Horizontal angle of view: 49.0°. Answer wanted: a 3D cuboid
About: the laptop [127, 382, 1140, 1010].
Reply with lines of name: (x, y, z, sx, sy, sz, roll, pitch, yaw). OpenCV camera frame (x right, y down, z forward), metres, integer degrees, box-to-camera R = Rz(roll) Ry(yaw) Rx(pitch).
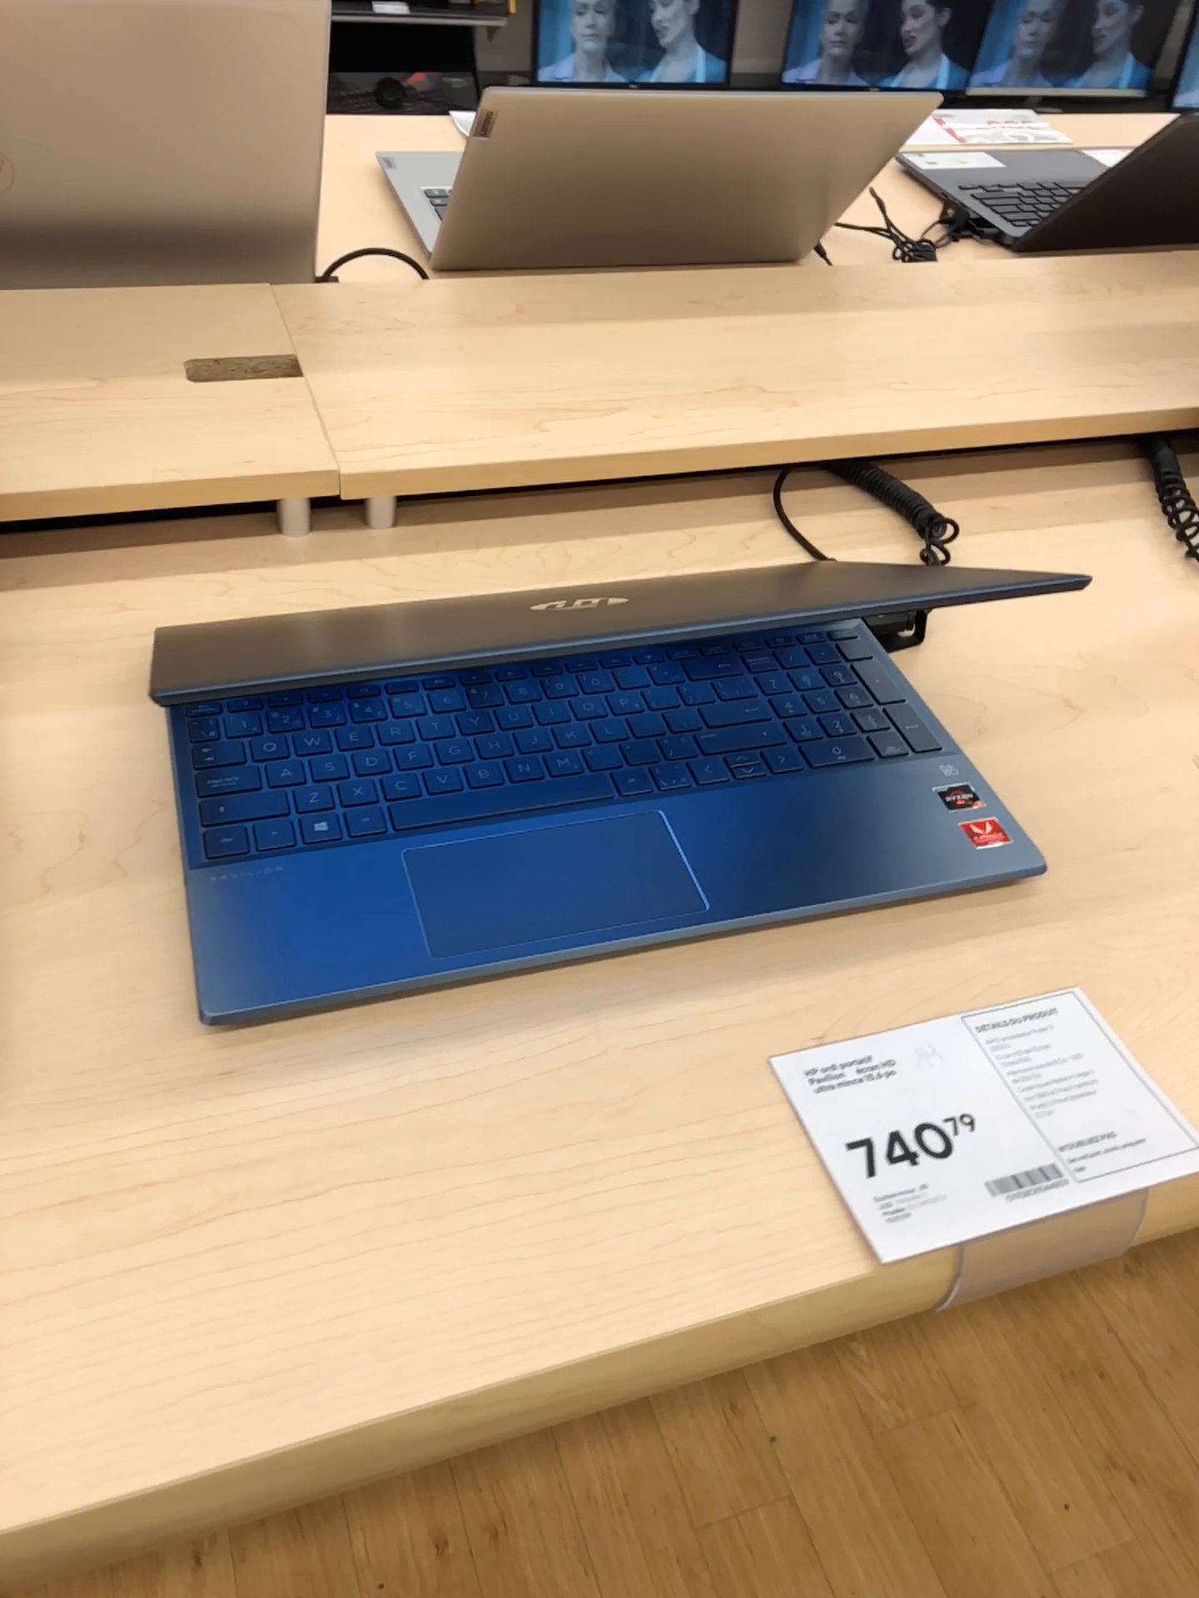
laptop: (0.000, -0.063, 0.552, 0.350, 0.119, 0.209, -8, 45, -17)
